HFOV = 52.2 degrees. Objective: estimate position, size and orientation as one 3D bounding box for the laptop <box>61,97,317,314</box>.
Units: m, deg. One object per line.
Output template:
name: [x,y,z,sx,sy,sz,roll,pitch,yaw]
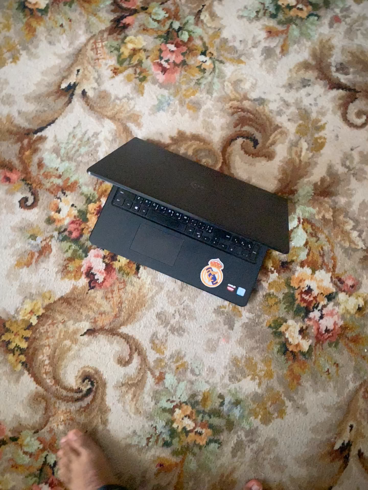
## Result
laptop: [0.013,-0.062,0.730,0.366,0.194,0.251,22,82,1]
